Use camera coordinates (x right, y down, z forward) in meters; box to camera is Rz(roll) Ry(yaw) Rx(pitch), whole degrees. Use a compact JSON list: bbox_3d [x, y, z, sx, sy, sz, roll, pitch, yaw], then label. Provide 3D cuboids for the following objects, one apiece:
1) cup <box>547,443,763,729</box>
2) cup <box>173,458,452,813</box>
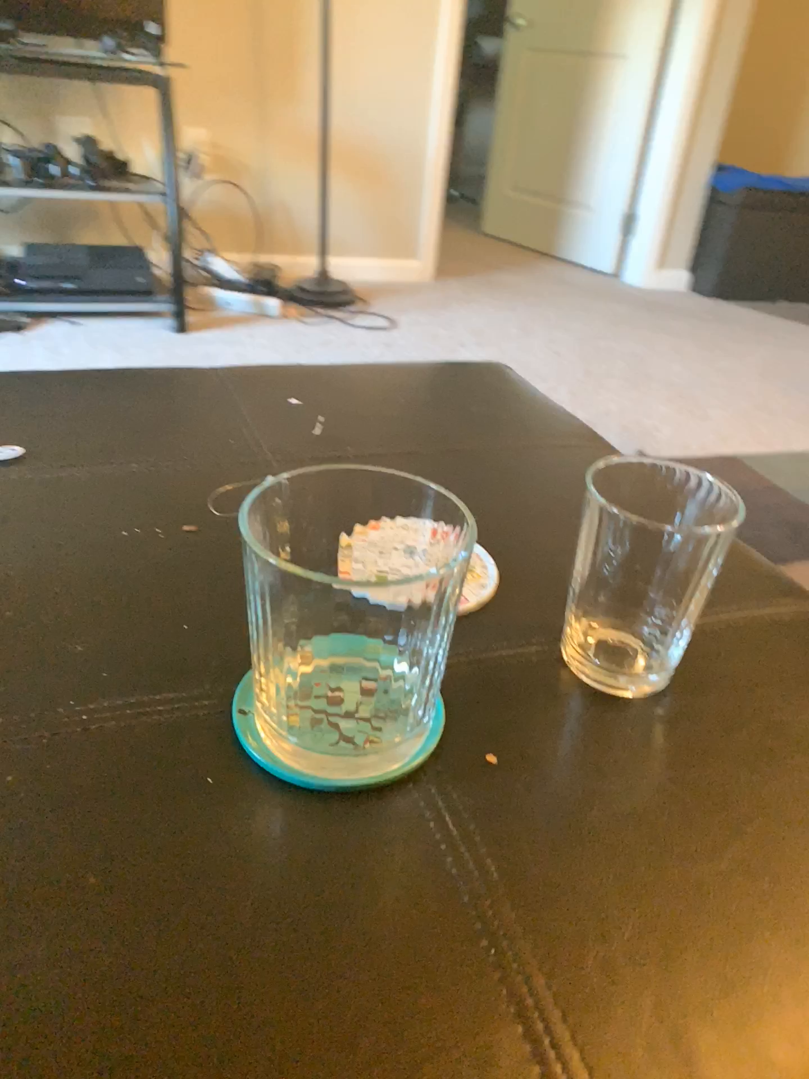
[{"bbox_3d":[0.099,0.018,0.353,0.060,0.089,0.070,8,30,3],"label":"cup"},{"bbox_3d":[-0.030,0.032,0.308,0.080,0.089,0.080,4,30,-3],"label":"cup"}]
